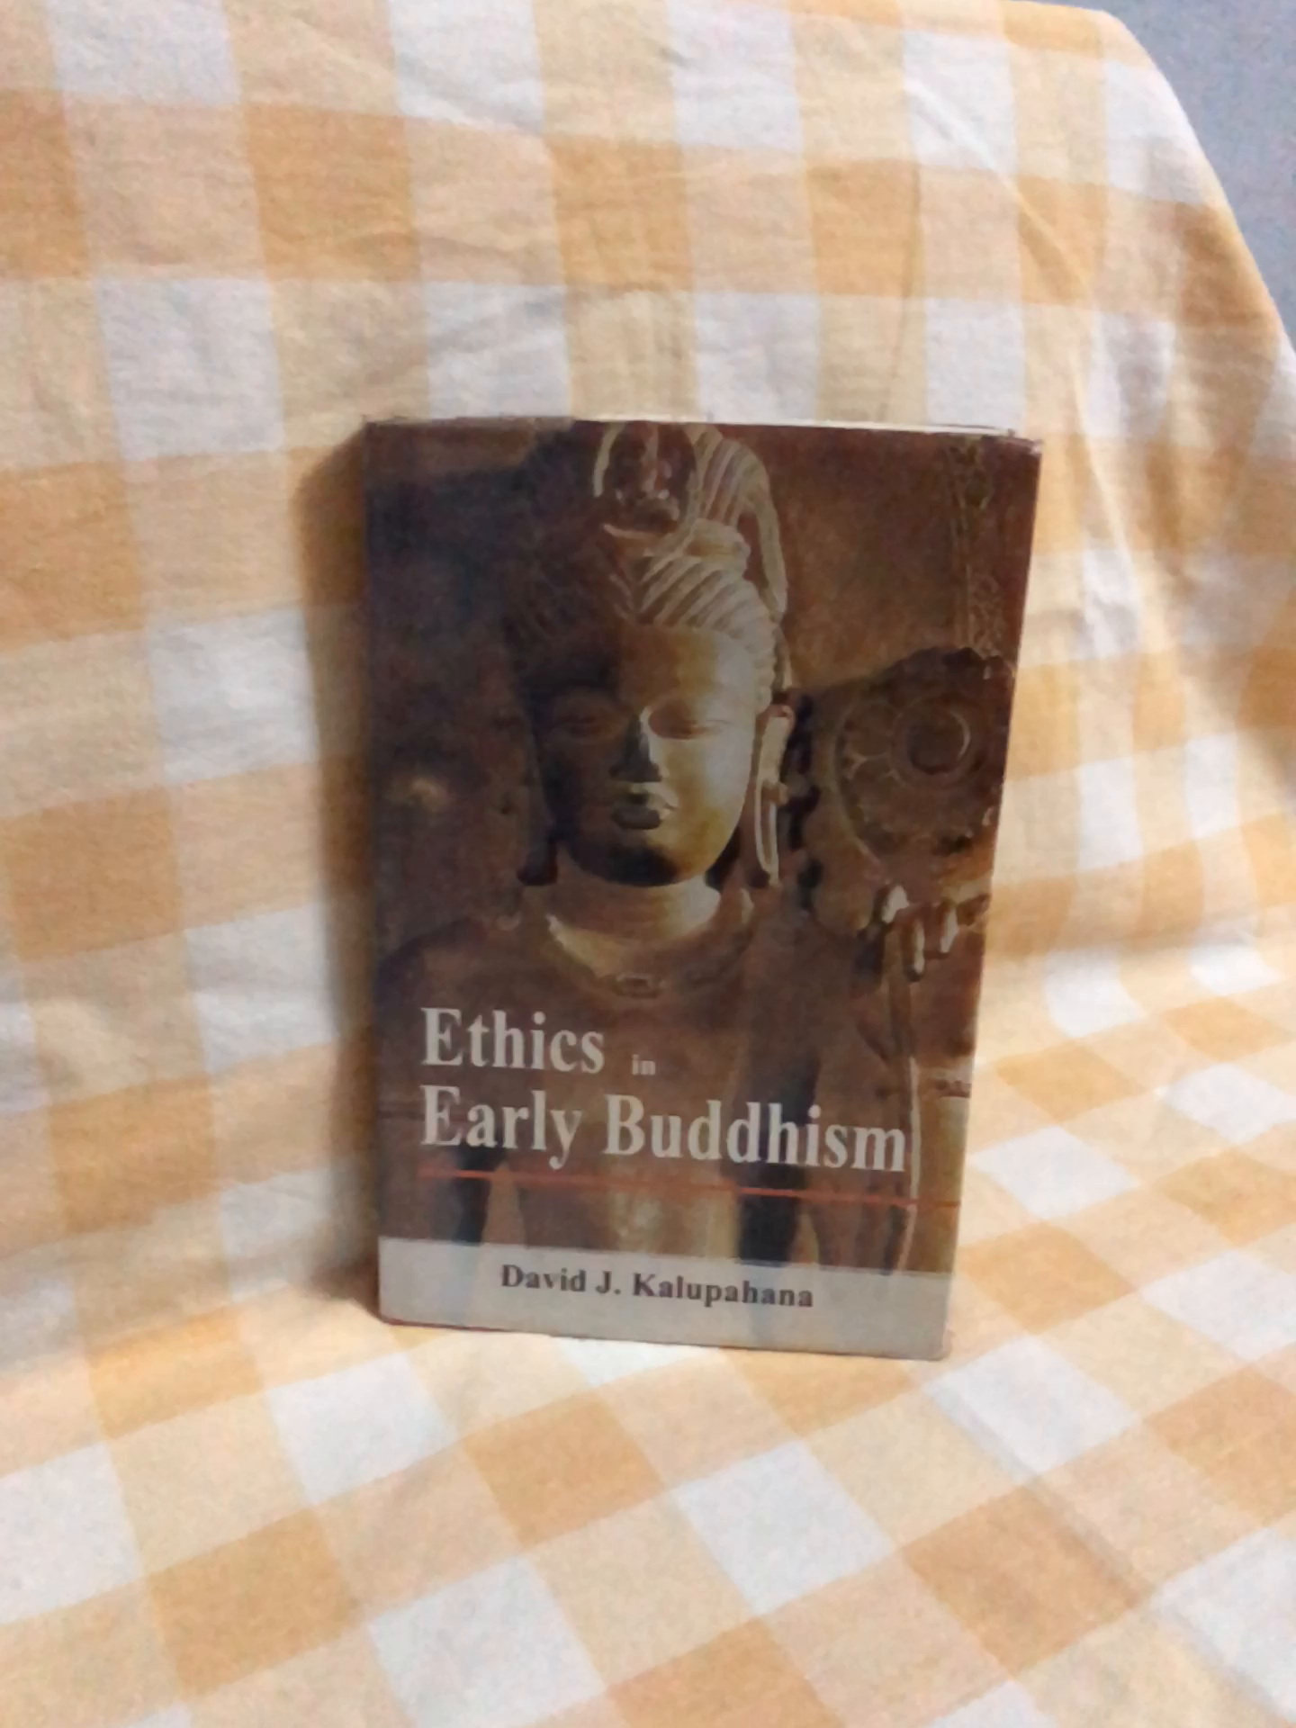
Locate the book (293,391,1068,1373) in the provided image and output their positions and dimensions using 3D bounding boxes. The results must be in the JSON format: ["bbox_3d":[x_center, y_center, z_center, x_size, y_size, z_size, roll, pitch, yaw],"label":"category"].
[{"bbox_3d":[0.002,0.012,0.341,0.160,0.229,0.020,3,18,3],"label":"book"}]
